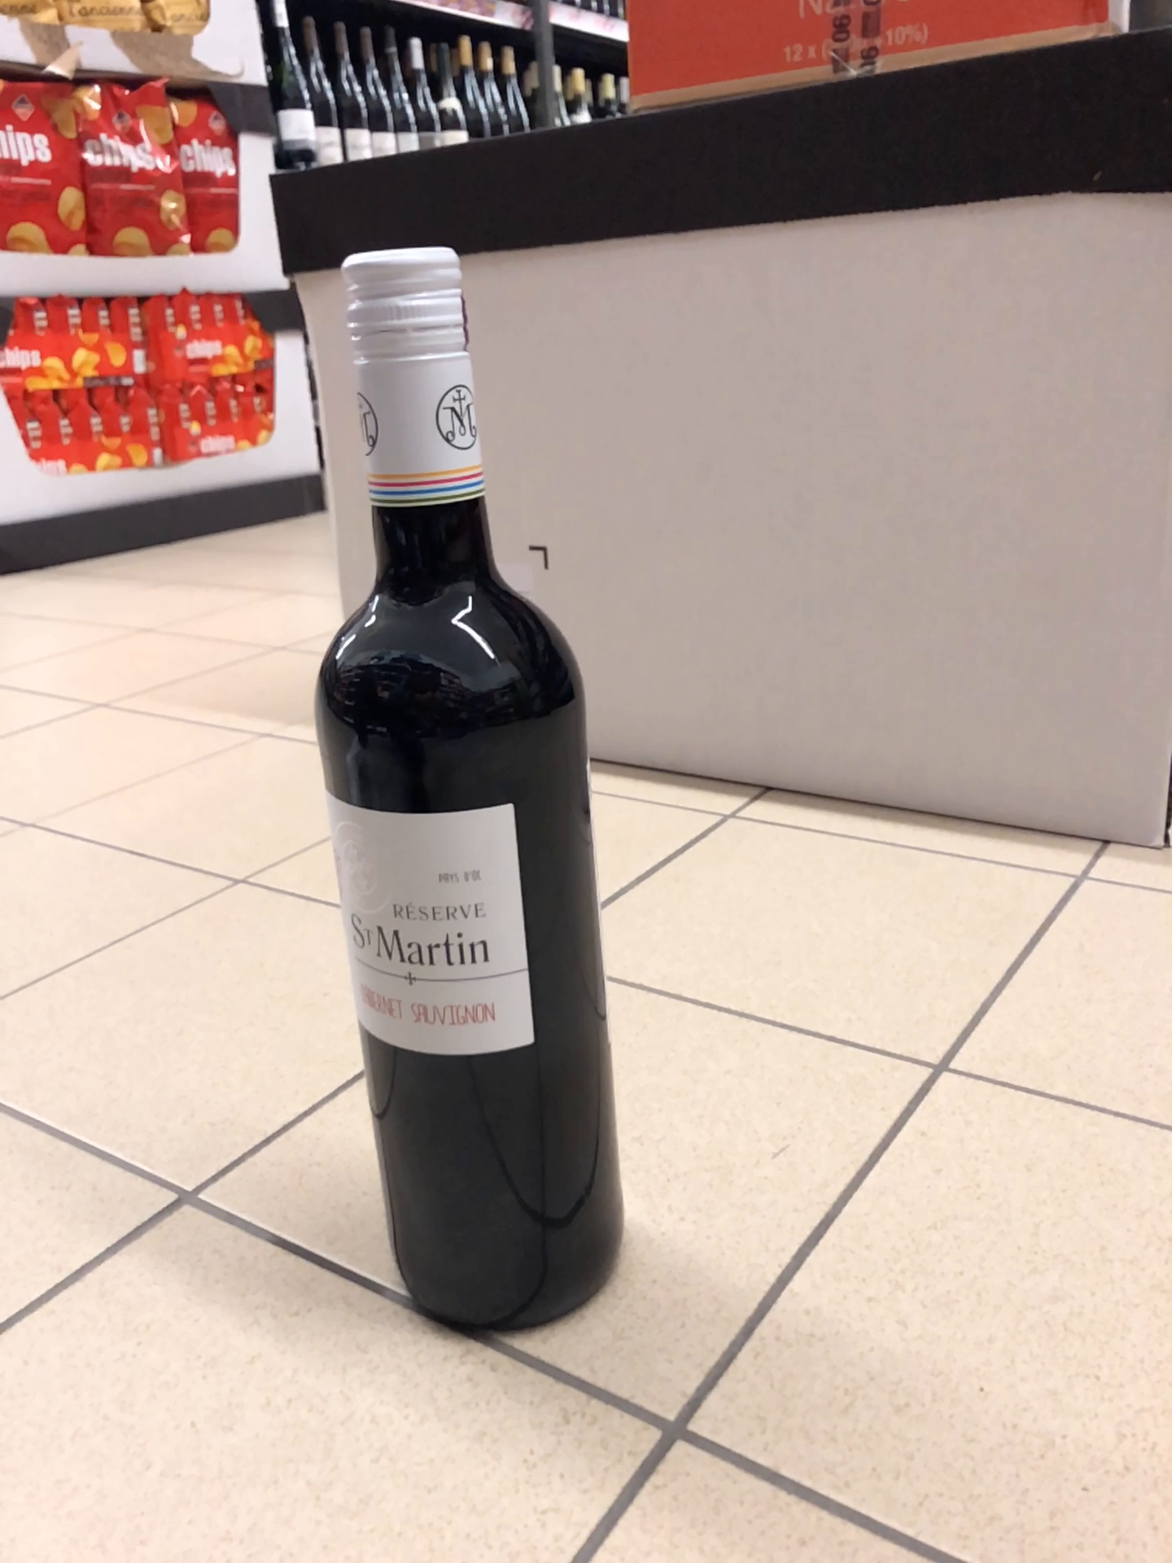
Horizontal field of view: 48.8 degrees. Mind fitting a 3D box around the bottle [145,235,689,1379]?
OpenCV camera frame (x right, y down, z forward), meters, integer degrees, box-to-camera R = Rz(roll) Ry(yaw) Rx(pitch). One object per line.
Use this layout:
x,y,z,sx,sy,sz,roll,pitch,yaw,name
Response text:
-0.036,0.008,0.362,0.090,0.289,0.080,8,22,32,bottle
